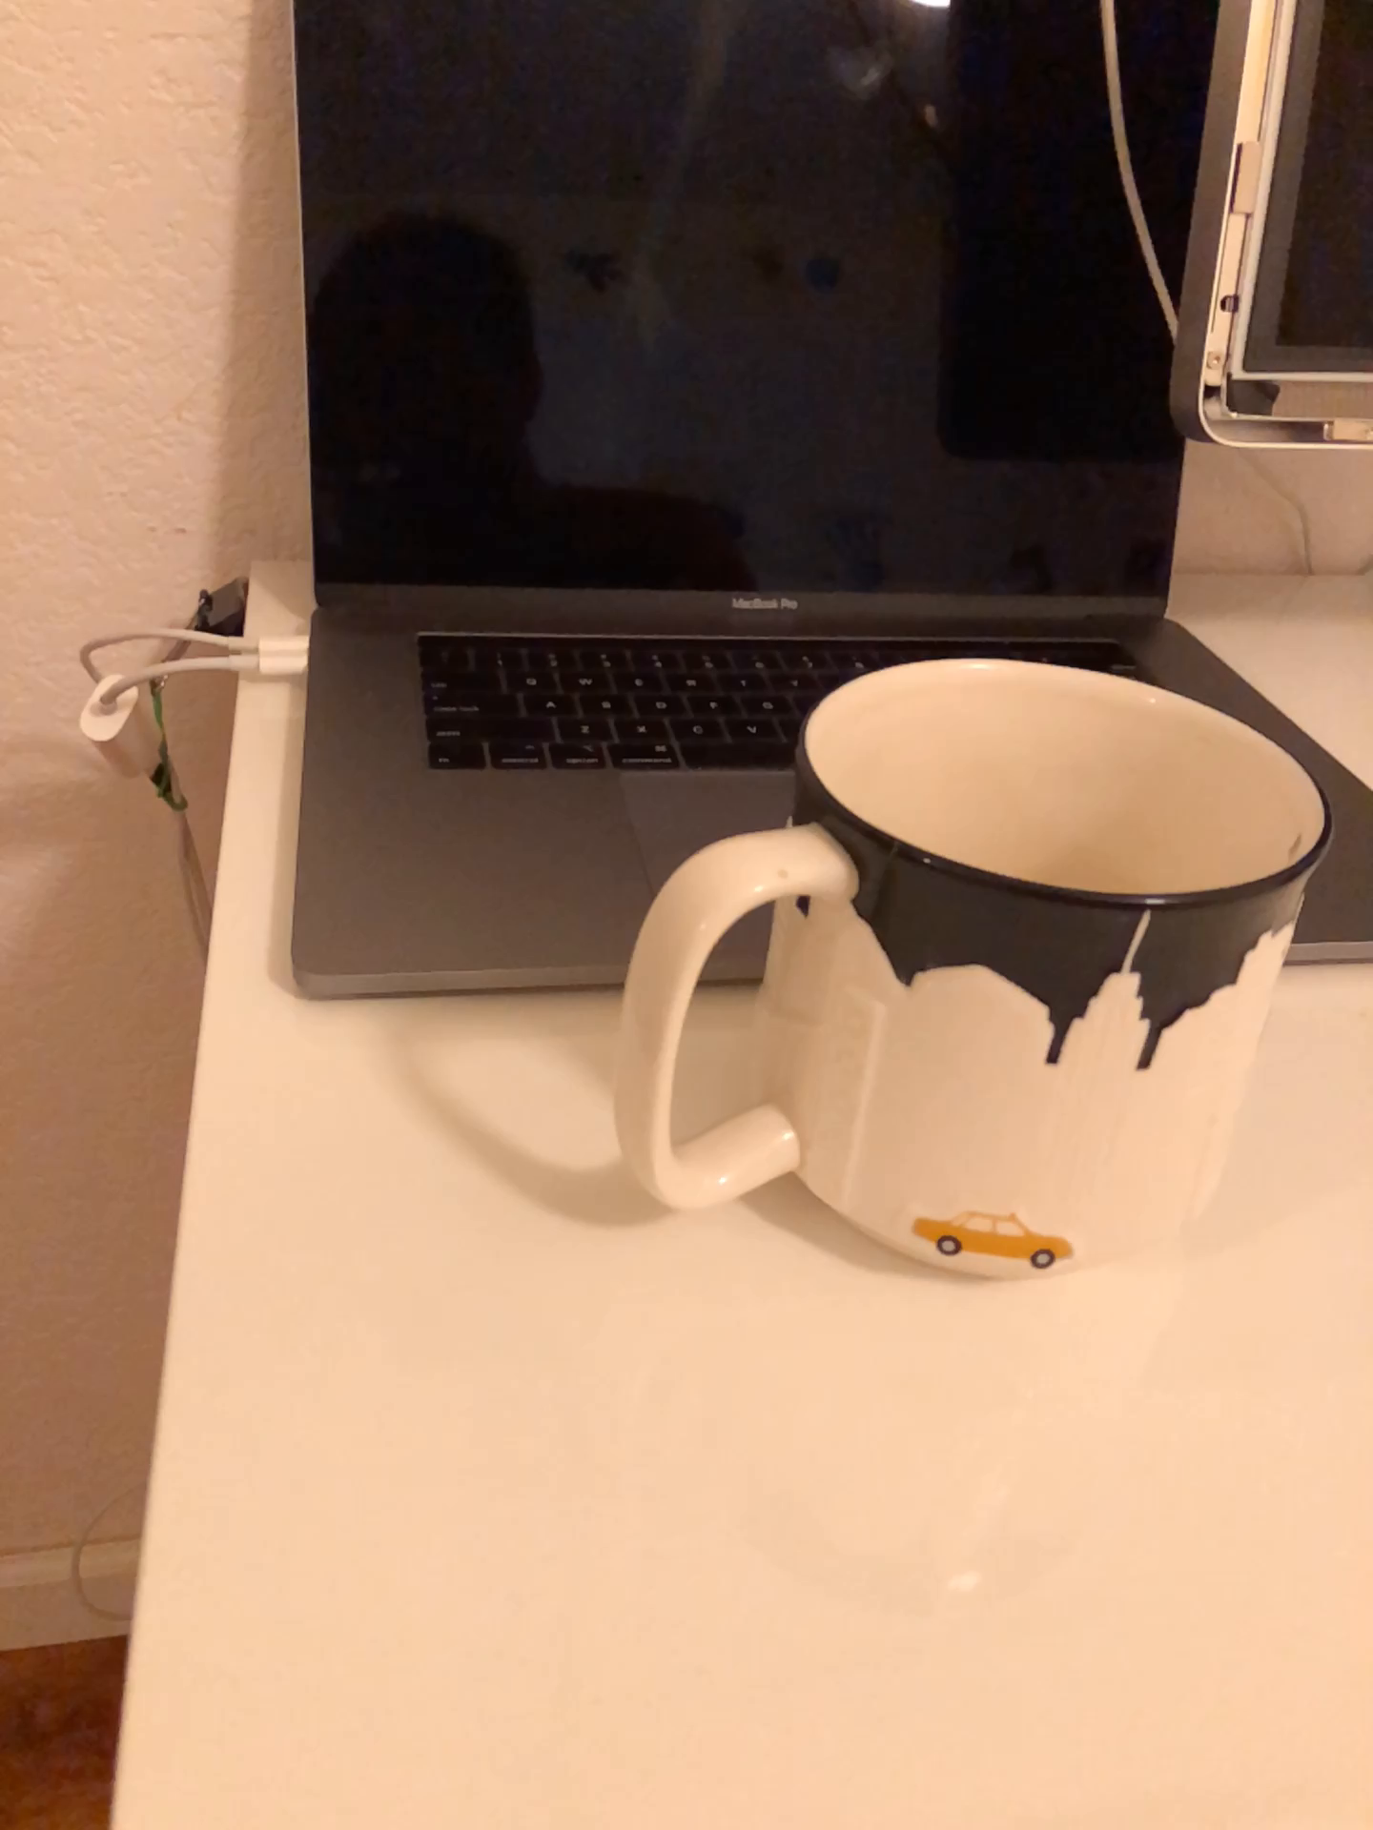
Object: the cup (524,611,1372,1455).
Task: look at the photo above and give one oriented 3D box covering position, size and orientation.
[{"bbox_3d":[0.055,0.014,0.318,0.150,0.109,0.100,-12,36,-24],"label":"cup"}]
